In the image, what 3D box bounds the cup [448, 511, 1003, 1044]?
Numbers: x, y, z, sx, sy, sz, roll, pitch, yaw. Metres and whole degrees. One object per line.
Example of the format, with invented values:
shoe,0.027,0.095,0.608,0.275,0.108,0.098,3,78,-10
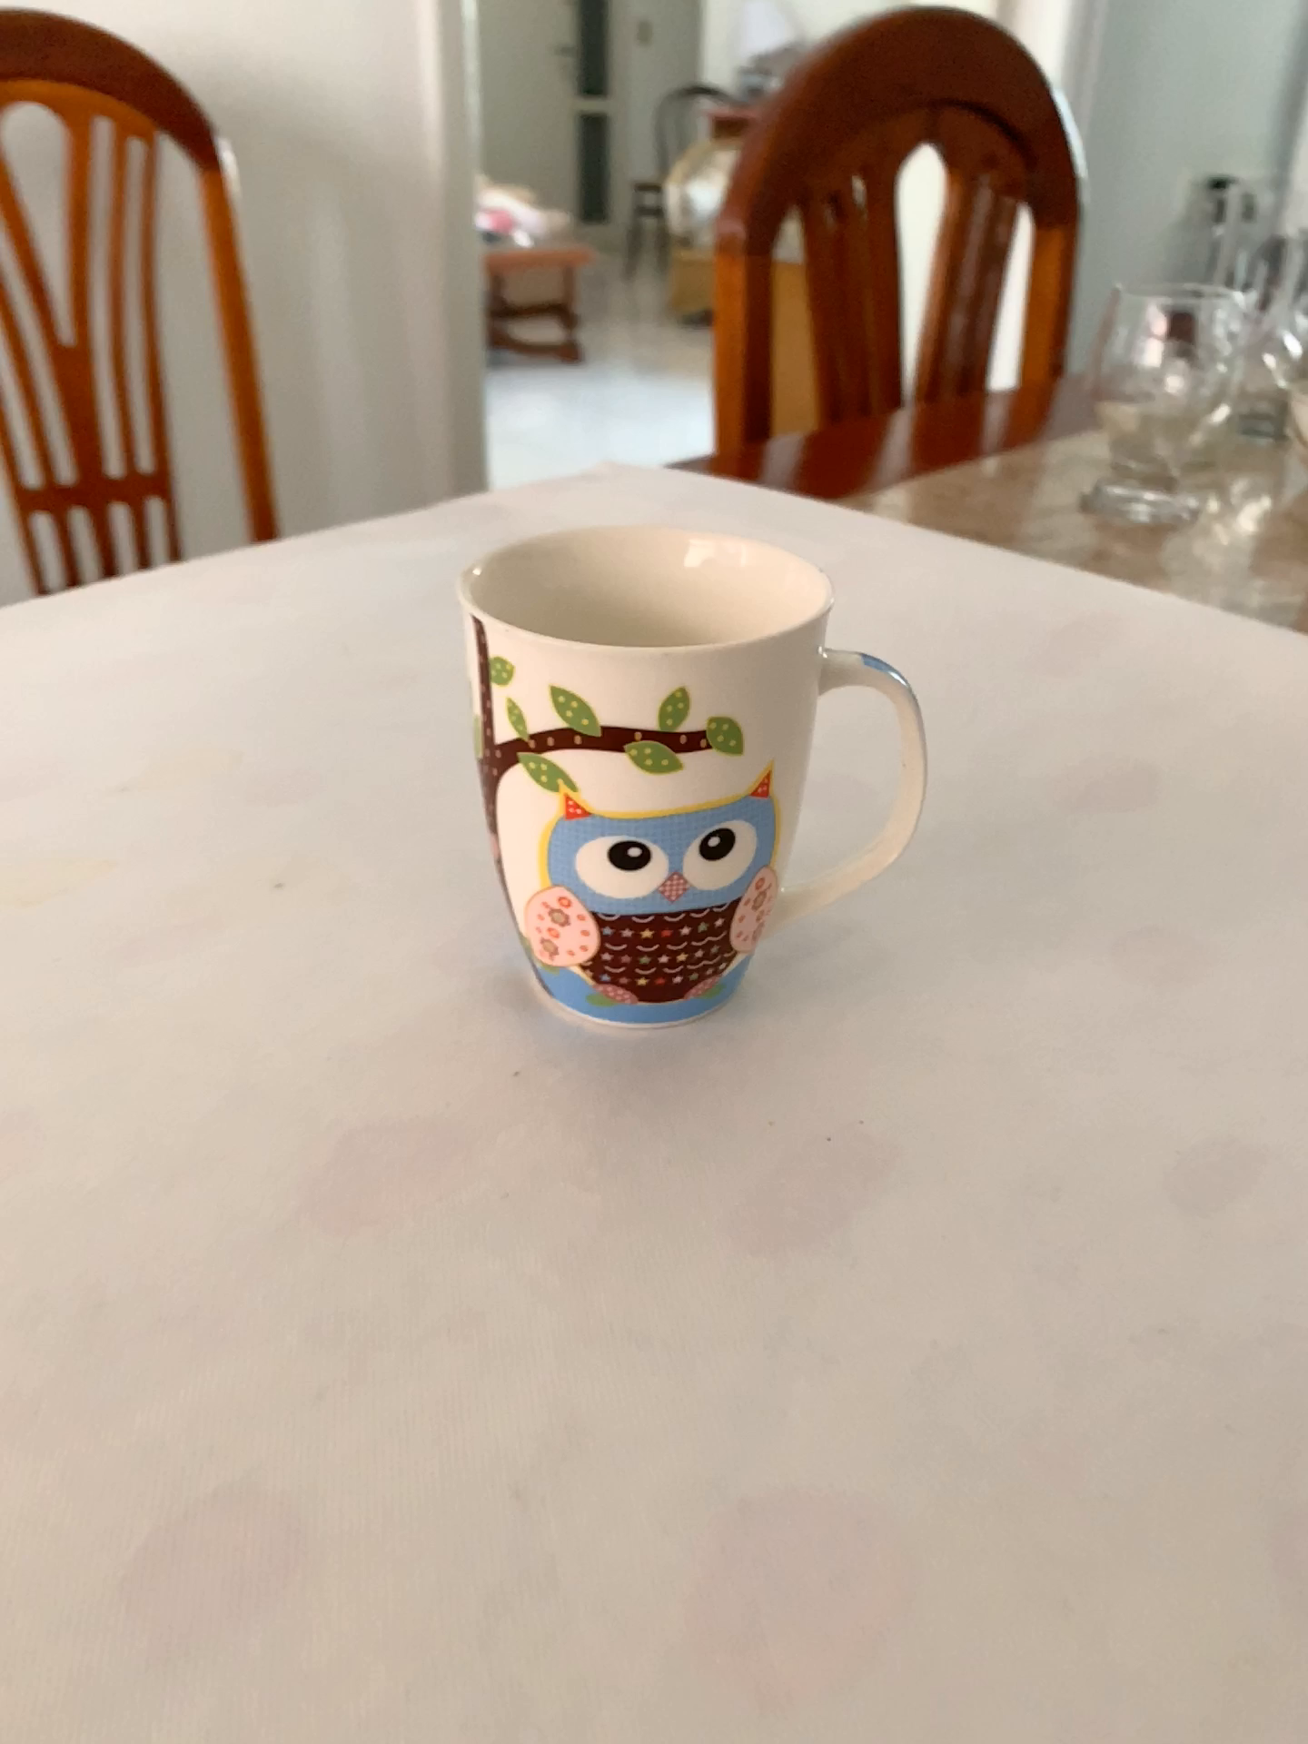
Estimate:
cup,0.011,-0.025,0.327,0.110,0.099,0.080,-2,30,-5
